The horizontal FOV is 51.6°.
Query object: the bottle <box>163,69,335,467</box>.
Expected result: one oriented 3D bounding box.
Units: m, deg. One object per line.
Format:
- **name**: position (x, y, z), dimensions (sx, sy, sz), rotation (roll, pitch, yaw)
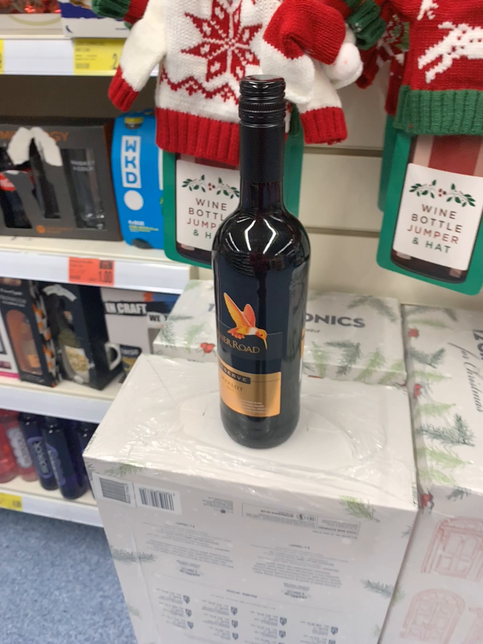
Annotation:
- **bottle**: position (0.005, -0.029, 0.388), dimensions (0.078, 0.288, 0.074), rotation (0, 33, 0)
